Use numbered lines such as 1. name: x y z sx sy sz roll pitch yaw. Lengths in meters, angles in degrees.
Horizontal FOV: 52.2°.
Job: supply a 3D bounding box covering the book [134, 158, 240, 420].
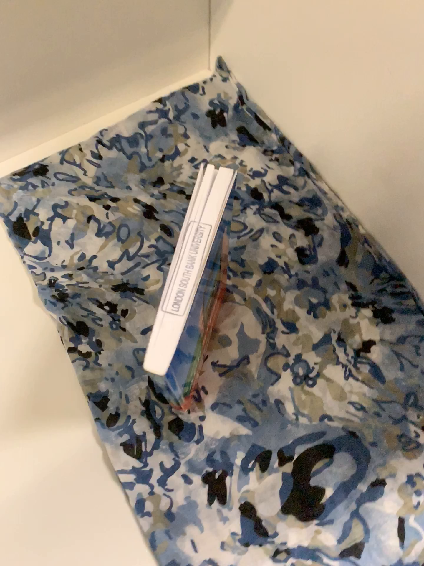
1. book: -0.010 0.025 0.343 0.024 0.204 0.140 13 68 6
